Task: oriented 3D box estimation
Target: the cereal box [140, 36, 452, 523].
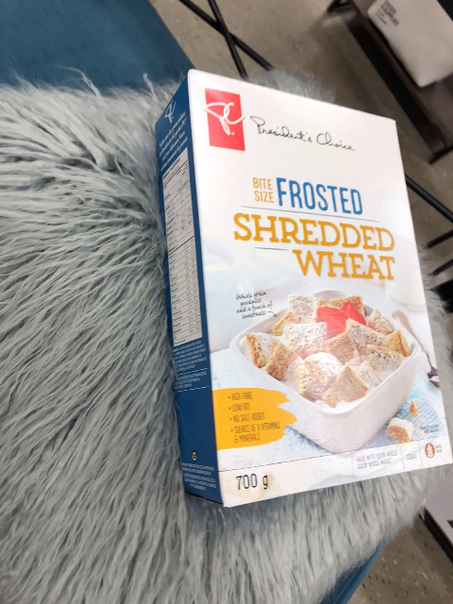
[{"bbox_3d":[0.052,-0.020,0.387,0.201,0.070,0.310,2,73,-31],"label":"cereal box"}]
